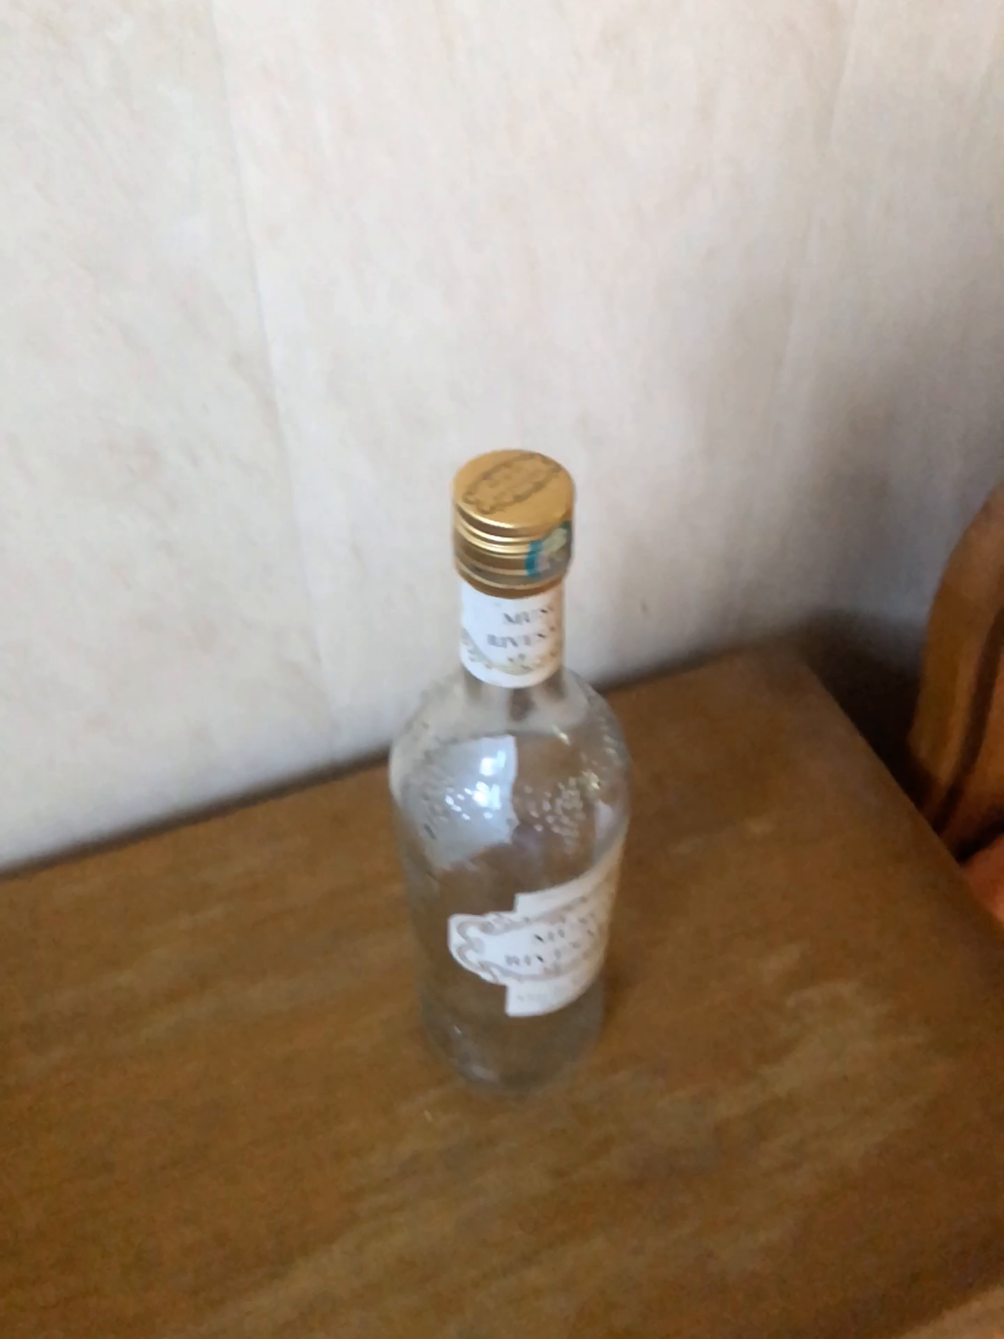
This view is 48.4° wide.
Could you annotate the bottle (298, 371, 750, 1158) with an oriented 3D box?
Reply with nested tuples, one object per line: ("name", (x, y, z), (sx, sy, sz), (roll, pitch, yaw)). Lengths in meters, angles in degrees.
("bottle", (0.003, 0.056, 0.379), (0.080, 0.288, 0.080), (0, 47, 0))
